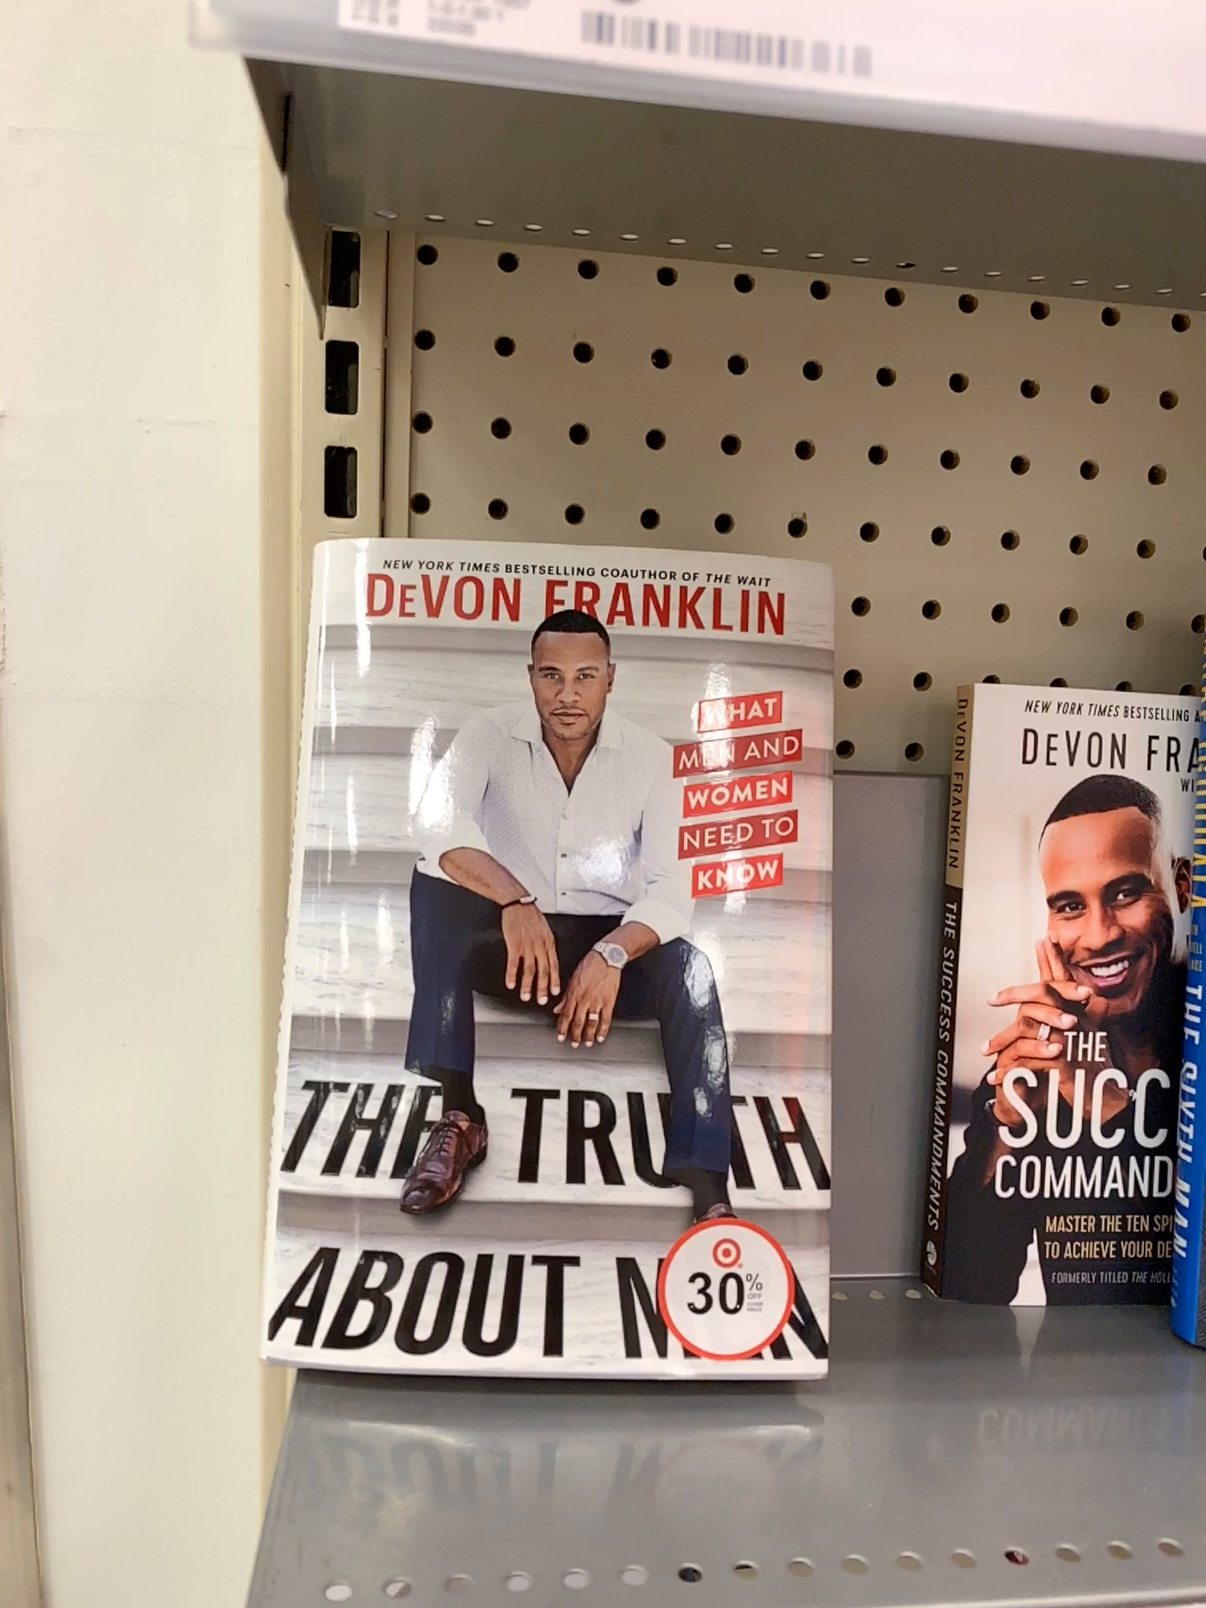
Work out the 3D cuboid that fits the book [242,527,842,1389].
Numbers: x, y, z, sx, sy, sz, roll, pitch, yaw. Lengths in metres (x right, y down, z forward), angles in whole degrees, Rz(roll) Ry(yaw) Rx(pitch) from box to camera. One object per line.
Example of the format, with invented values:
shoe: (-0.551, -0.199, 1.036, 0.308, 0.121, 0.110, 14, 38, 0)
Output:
book: (-0.013, 0.042, 0.371, 0.160, 0.237, 0.040, 2, -9, -4)
